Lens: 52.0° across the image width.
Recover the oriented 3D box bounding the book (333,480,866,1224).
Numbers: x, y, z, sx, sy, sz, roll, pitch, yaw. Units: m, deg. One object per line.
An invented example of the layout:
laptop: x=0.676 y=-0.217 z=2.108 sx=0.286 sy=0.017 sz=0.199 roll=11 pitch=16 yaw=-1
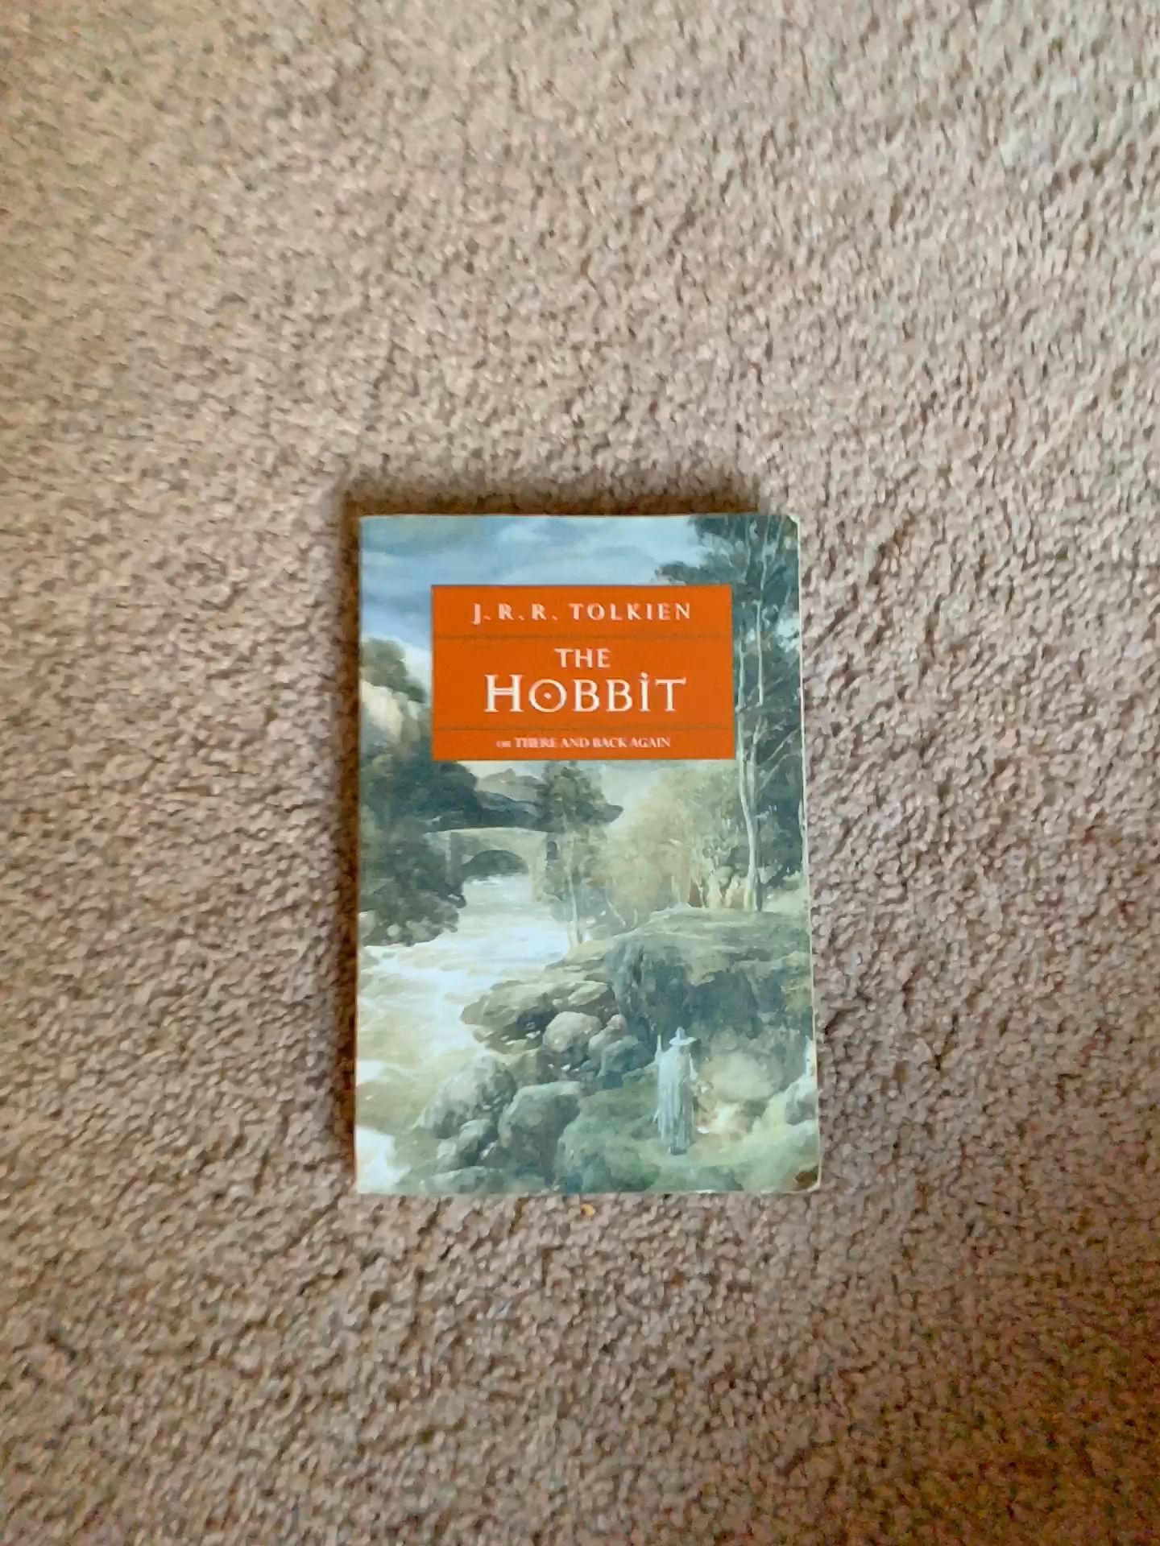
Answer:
book: x=0.002 y=0.019 z=0.371 sx=0.150 sy=0.030 sz=0.220 roll=-1 pitch=79 yaw=-1
